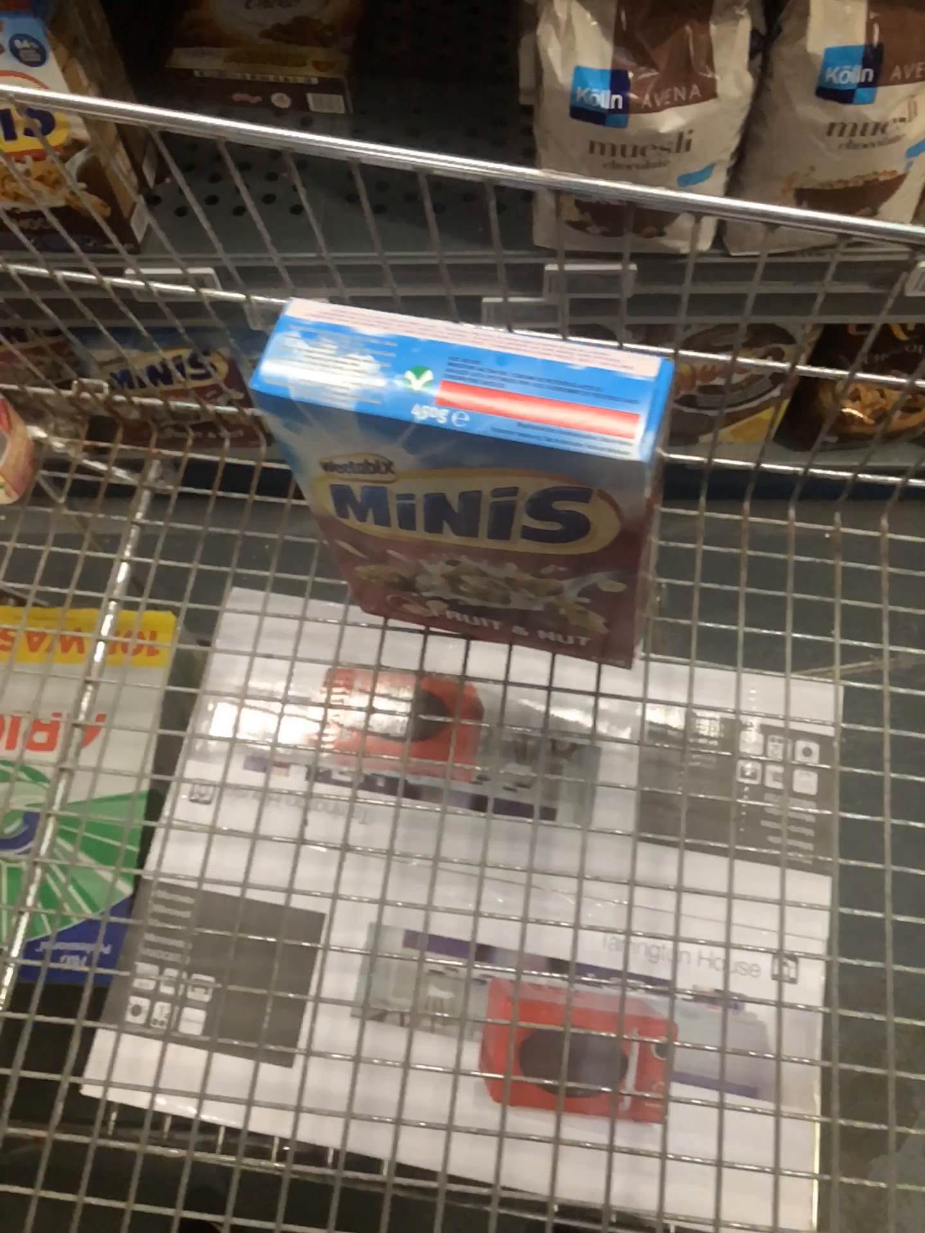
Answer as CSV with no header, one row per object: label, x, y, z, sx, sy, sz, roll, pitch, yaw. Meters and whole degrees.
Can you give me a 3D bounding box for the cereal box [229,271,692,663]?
cereal box,0.011,-0.077,0.631,0.220,0.260,0.080,11,68,12
